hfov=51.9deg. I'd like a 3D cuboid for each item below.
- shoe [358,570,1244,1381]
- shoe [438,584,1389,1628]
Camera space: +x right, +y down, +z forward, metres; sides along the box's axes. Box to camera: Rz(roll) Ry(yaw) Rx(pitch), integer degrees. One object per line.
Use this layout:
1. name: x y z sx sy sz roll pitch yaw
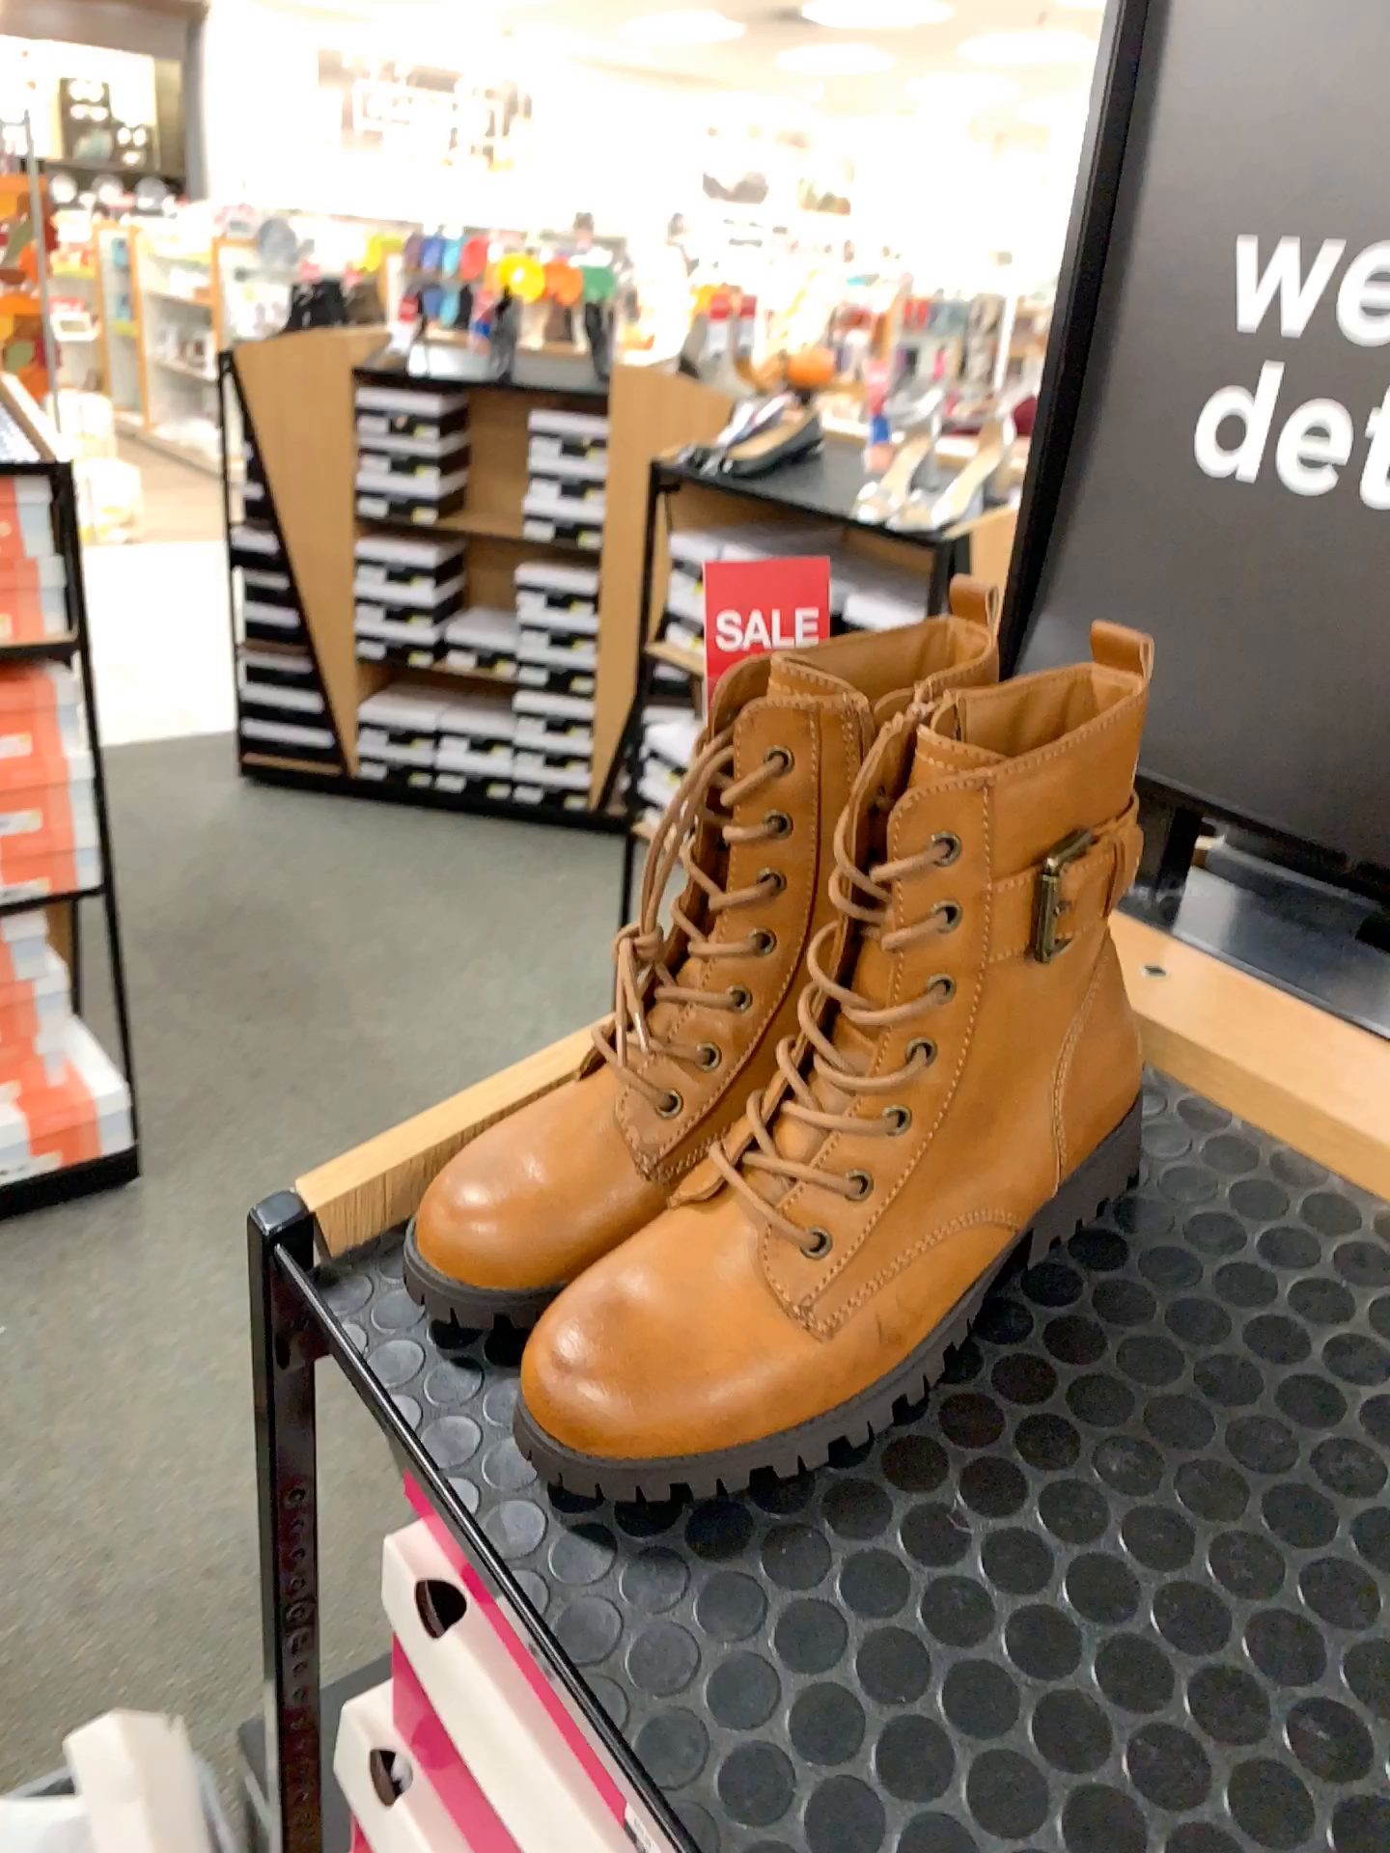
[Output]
1. shoe: 0.033 0.003 0.500 0.276 0.229 0.090 -8 28 -27
2. shoe: 0.074 0.029 0.449 0.286 0.229 0.110 -15 31 -37
